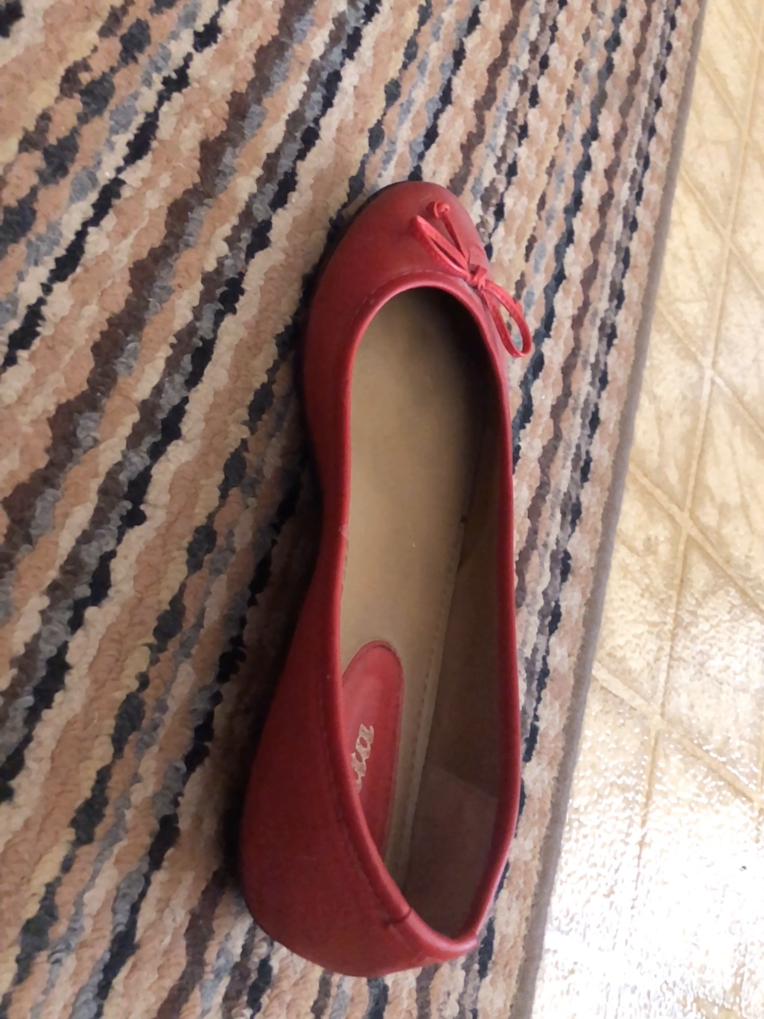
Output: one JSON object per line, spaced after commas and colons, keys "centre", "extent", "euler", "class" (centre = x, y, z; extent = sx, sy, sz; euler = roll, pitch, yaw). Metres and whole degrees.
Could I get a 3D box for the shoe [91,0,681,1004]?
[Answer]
{"centre": [0.014, -0.005, 0.279], "extent": [0.101, 0.109, 0.270], "euler": [27, 64, -36], "class": "shoe"}
